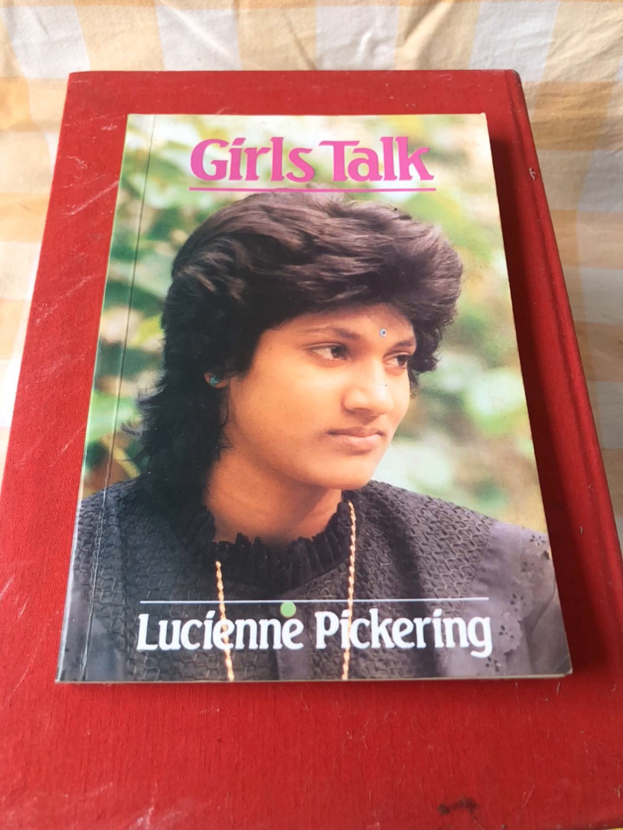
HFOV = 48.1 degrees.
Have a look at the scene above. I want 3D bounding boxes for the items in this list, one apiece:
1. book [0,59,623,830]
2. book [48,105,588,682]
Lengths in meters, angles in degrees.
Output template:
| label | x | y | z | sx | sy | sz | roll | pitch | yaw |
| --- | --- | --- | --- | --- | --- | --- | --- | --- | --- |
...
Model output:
| label | x | y | z | sx | sy | sz | roll | pitch | yaw |
| --- | --- | --- | --- | --- | --- | --- | --- | --- | --- |
| book | -0.001 | -0.011 | 0.222 | 0.174 | 0.031 | 0.249 | -2 | 66 | -1 |
| book | 0.000 | -0.017 | 0.215 | 0.130 | 0.025 | 0.182 | -1 | 67 | -1 |
